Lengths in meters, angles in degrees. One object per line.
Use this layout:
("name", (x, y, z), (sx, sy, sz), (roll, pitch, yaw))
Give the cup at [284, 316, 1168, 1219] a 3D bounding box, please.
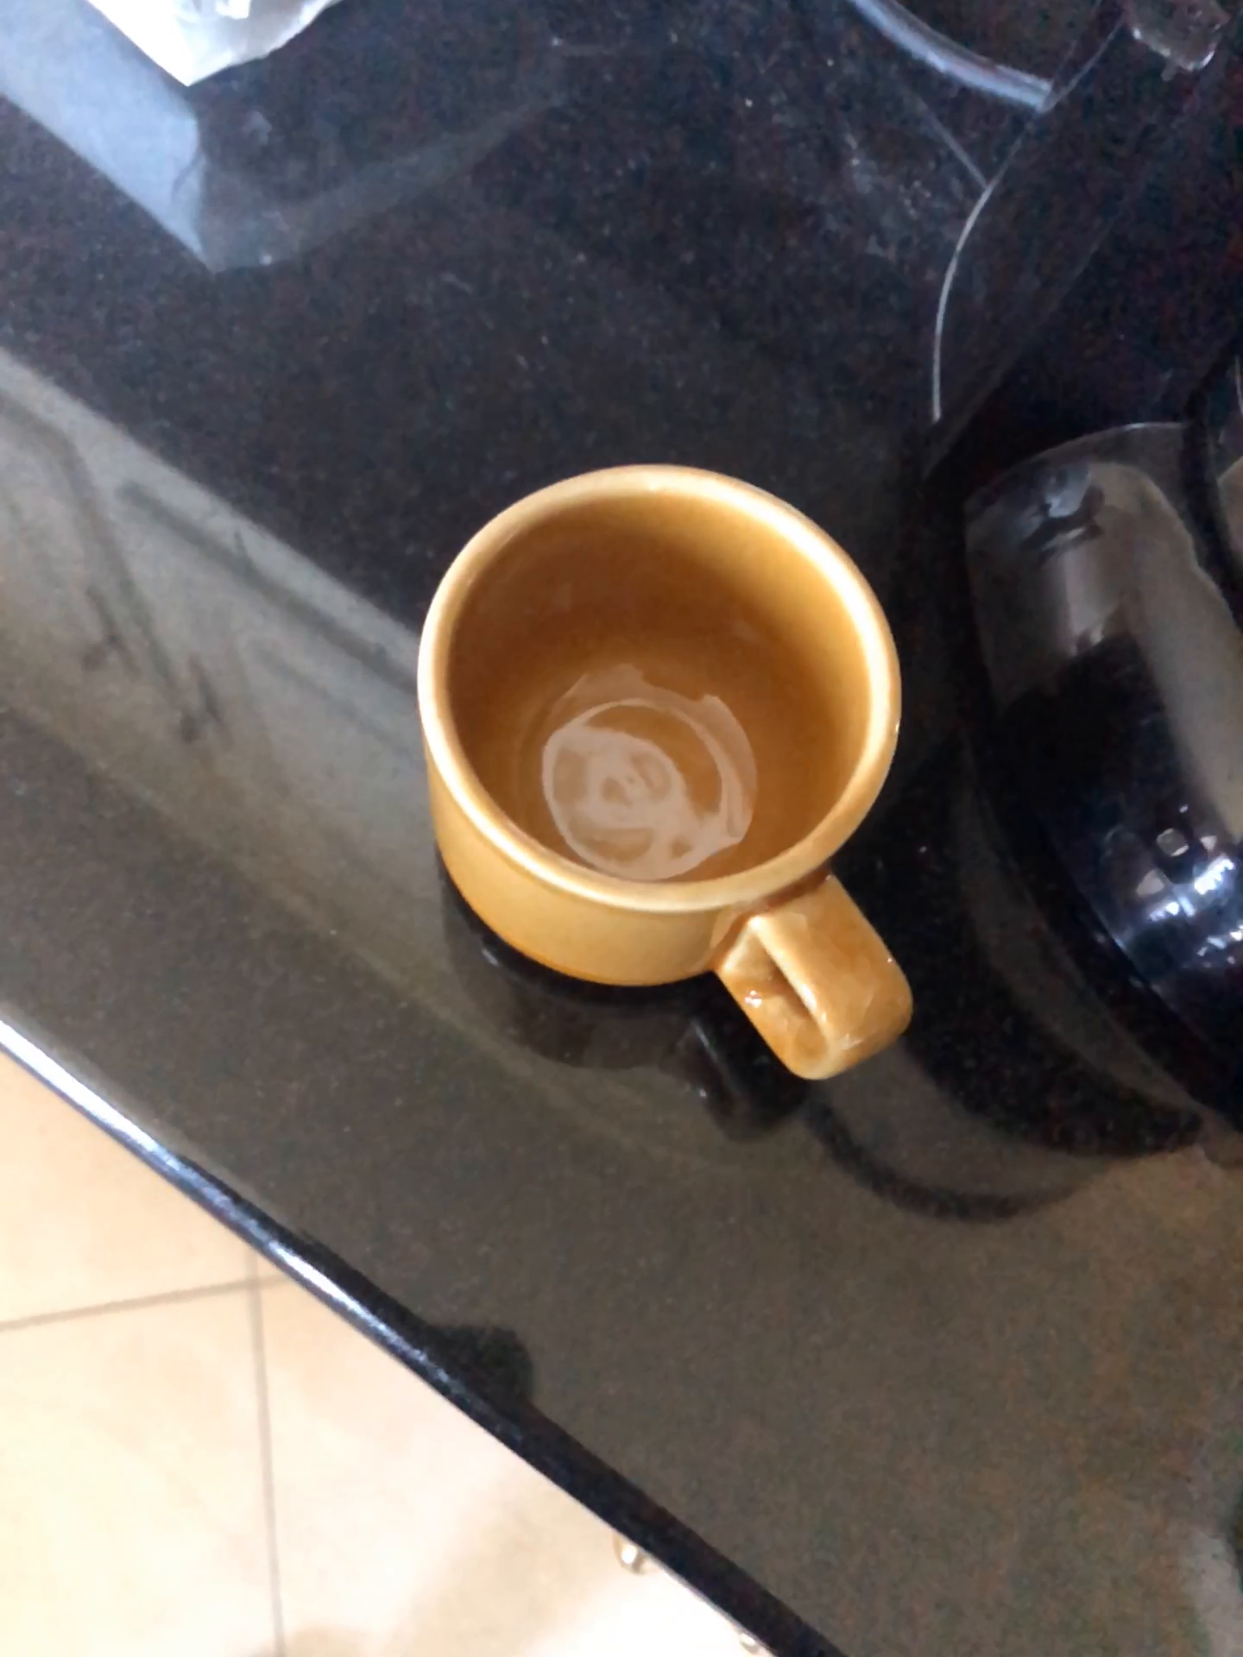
("cup", (0.010, -0.009, 0.203), (0.070, 0.050, 0.100), (-31, 75, -16))
